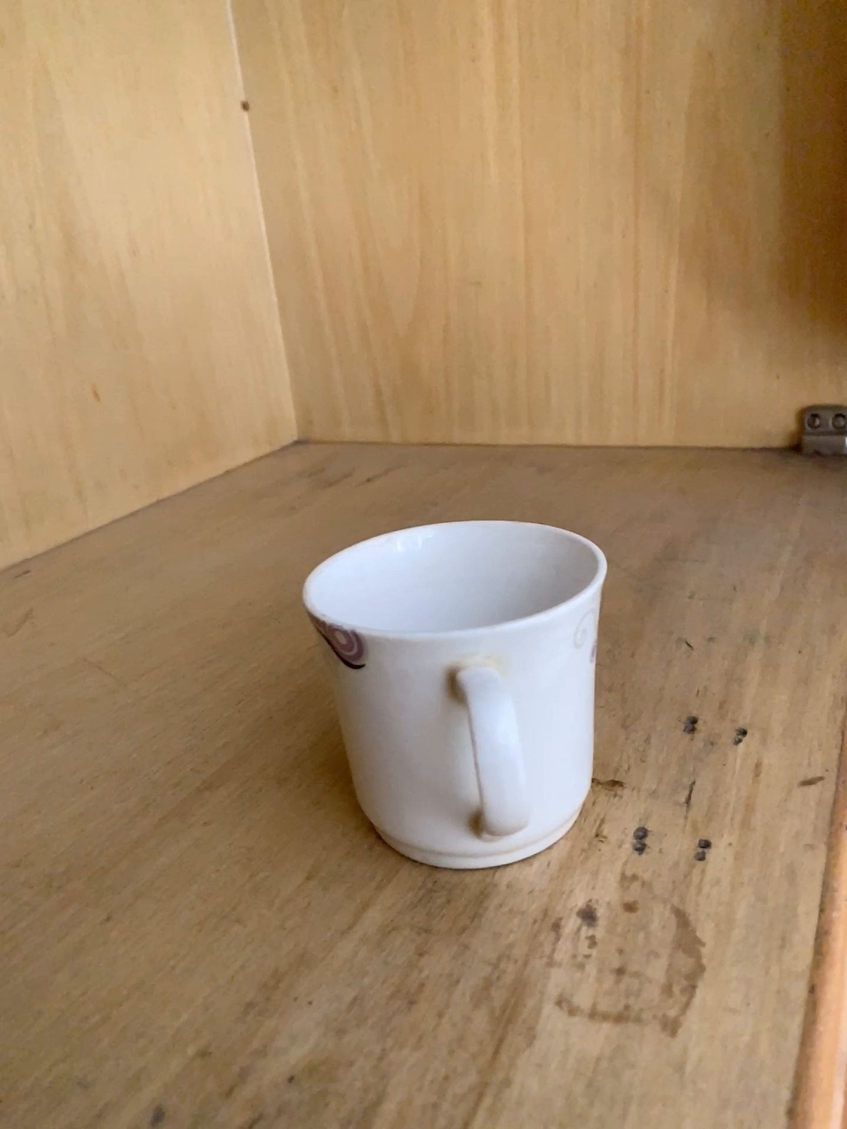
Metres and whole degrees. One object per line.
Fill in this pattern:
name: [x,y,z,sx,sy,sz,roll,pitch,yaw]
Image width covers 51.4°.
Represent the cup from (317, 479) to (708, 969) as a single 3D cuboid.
cup: [0.016,0.029,0.210,0.070,0.070,0.091,-7,21,-2]
